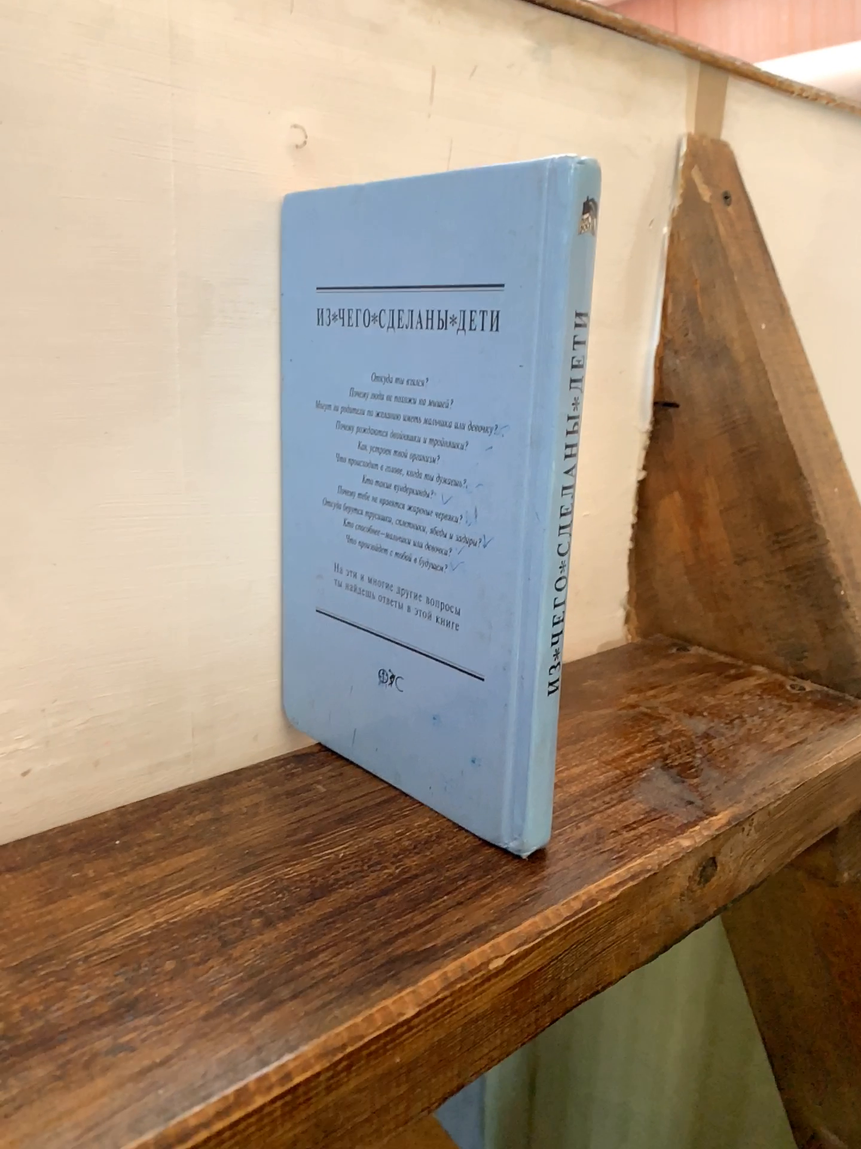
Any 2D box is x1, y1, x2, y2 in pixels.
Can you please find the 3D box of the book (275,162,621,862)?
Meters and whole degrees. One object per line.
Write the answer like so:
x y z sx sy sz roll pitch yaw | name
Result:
-0.006 -0.024 0.296 0.020 0.195 0.130 -11 20 -42 | book
